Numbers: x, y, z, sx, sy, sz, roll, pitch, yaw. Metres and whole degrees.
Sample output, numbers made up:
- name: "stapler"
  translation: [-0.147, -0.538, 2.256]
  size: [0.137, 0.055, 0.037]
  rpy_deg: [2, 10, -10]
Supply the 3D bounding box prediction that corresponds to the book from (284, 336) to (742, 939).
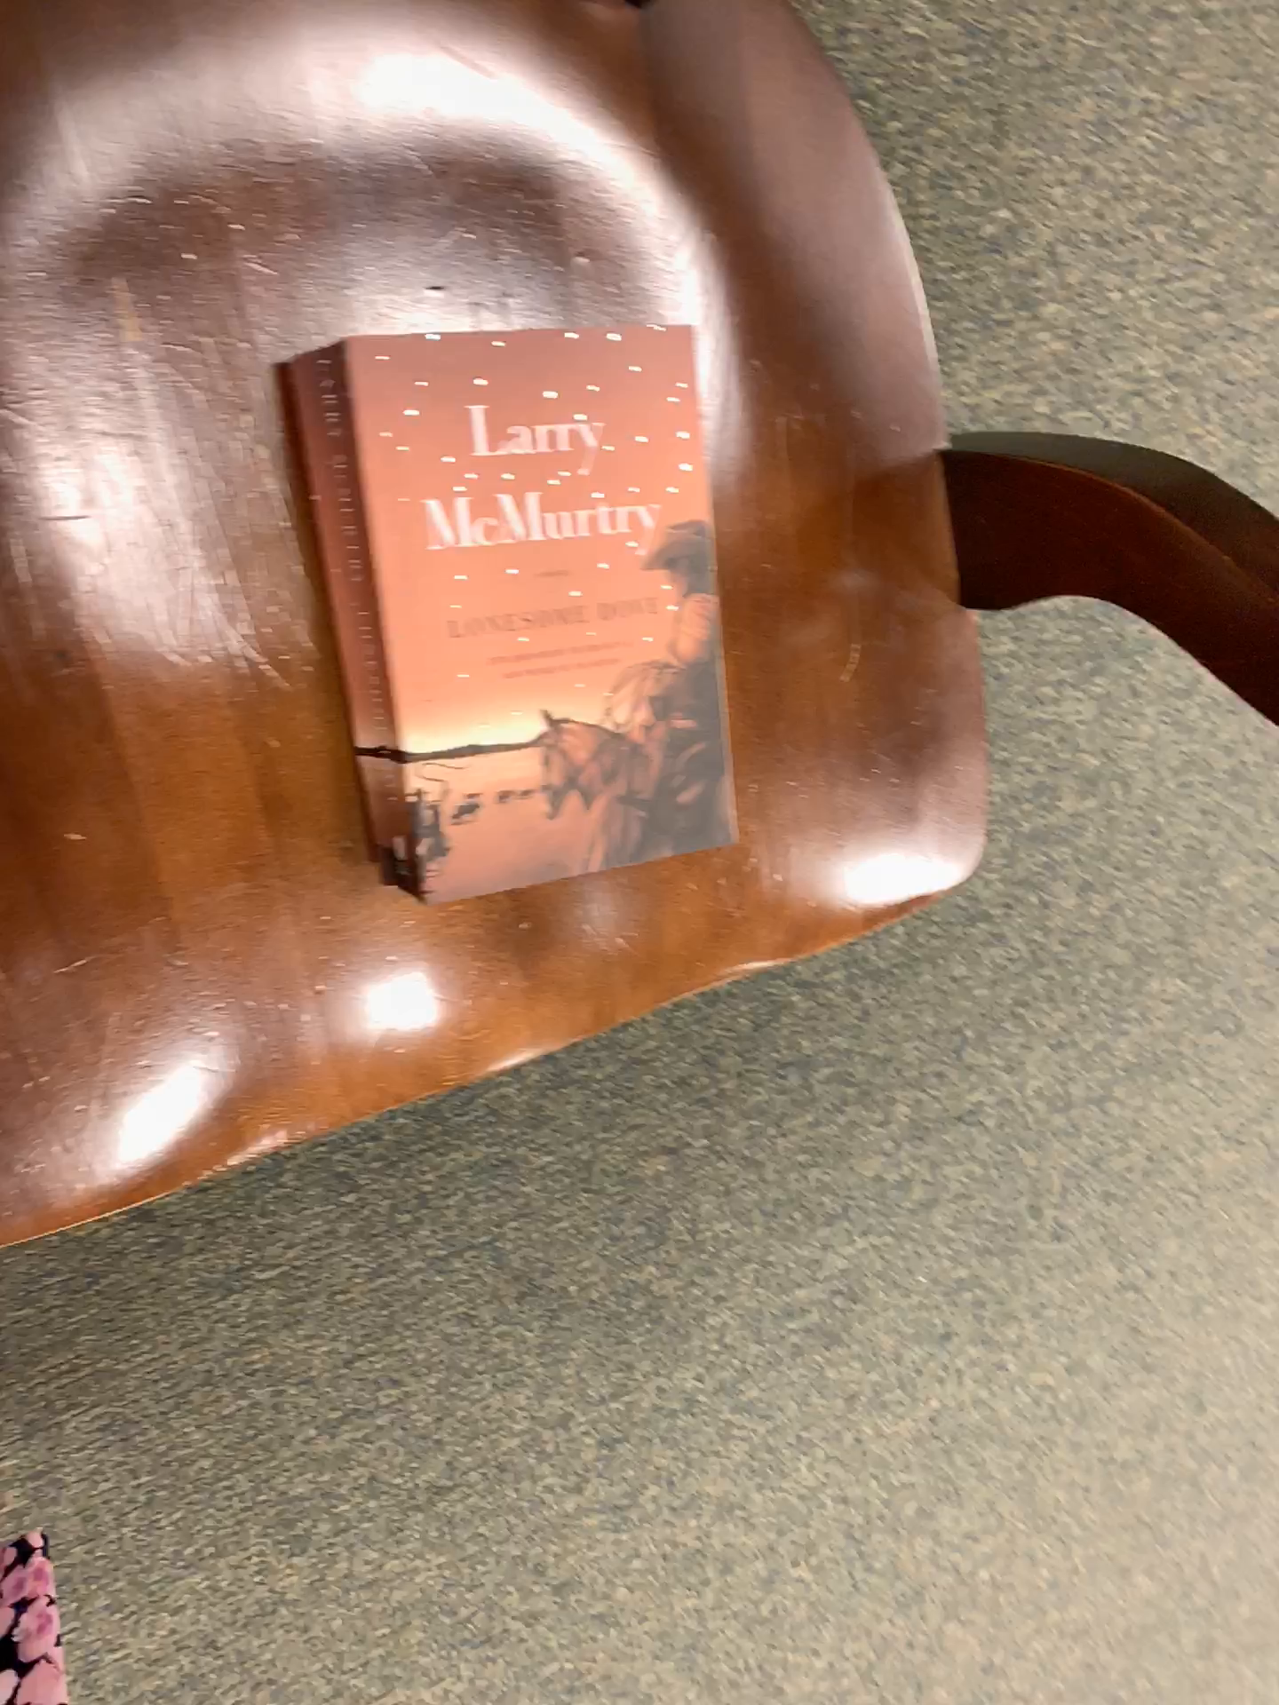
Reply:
- name: "book"
  translation: [-0.044, -0.084, 0.502]
  size: [0.140, 0.060, 0.201]
  rpy_deg: [-12, 106, -22]
